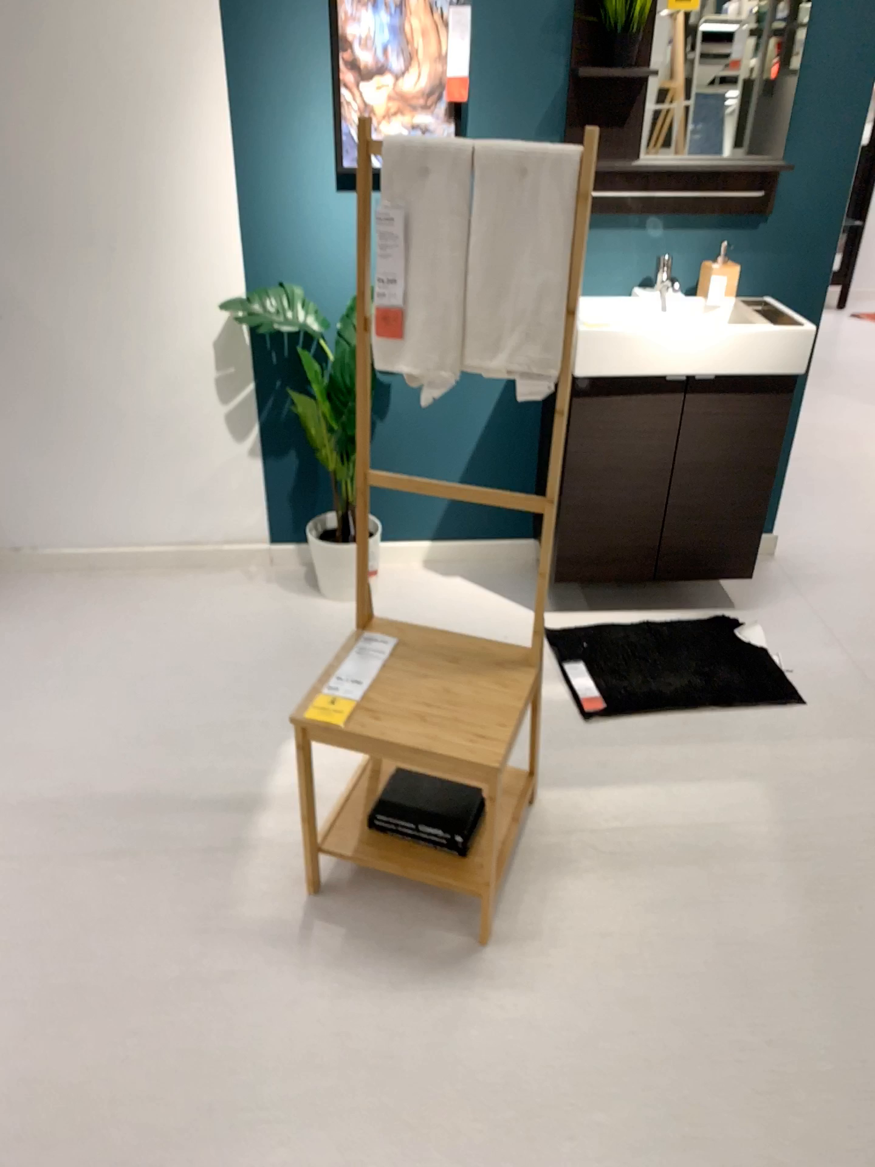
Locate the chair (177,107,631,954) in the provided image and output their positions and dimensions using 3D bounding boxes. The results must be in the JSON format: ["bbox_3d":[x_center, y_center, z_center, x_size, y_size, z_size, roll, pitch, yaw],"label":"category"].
[{"bbox_3d":[-0.020,-0.055,1.517,0.460,1.295,0.472,11,32,17],"label":"chair"}]
